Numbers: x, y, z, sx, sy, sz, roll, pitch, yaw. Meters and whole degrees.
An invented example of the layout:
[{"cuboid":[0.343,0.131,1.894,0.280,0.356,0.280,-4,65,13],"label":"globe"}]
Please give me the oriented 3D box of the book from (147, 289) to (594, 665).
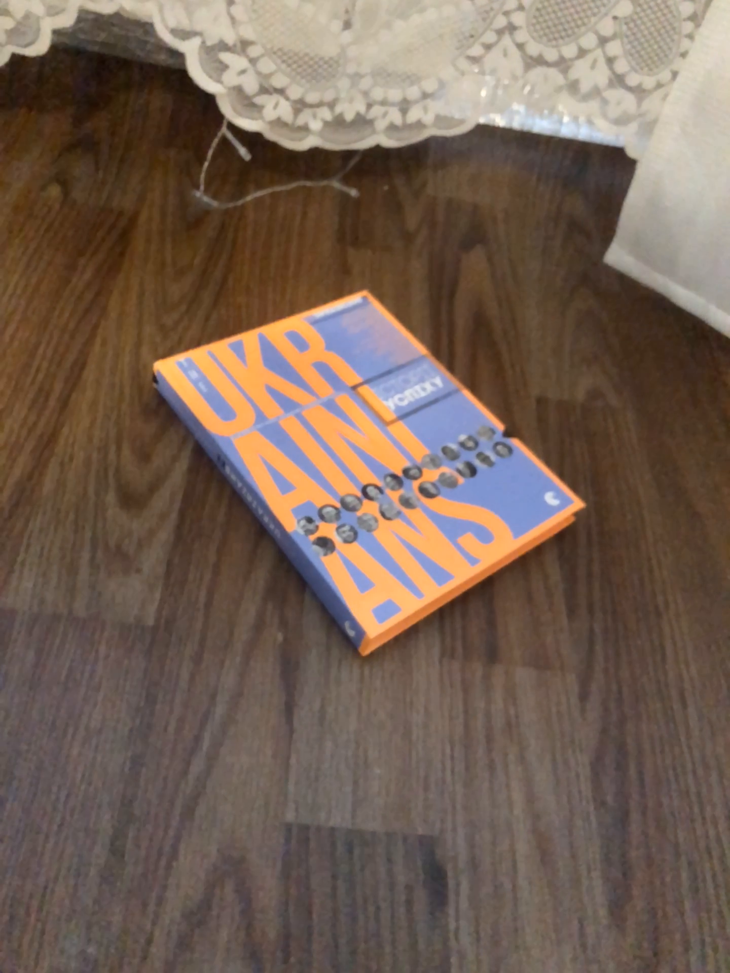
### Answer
[{"cuboid":[0.001,-0.024,0.475,0.165,0.020,0.216,-26,62,-32],"label":"book"}]
